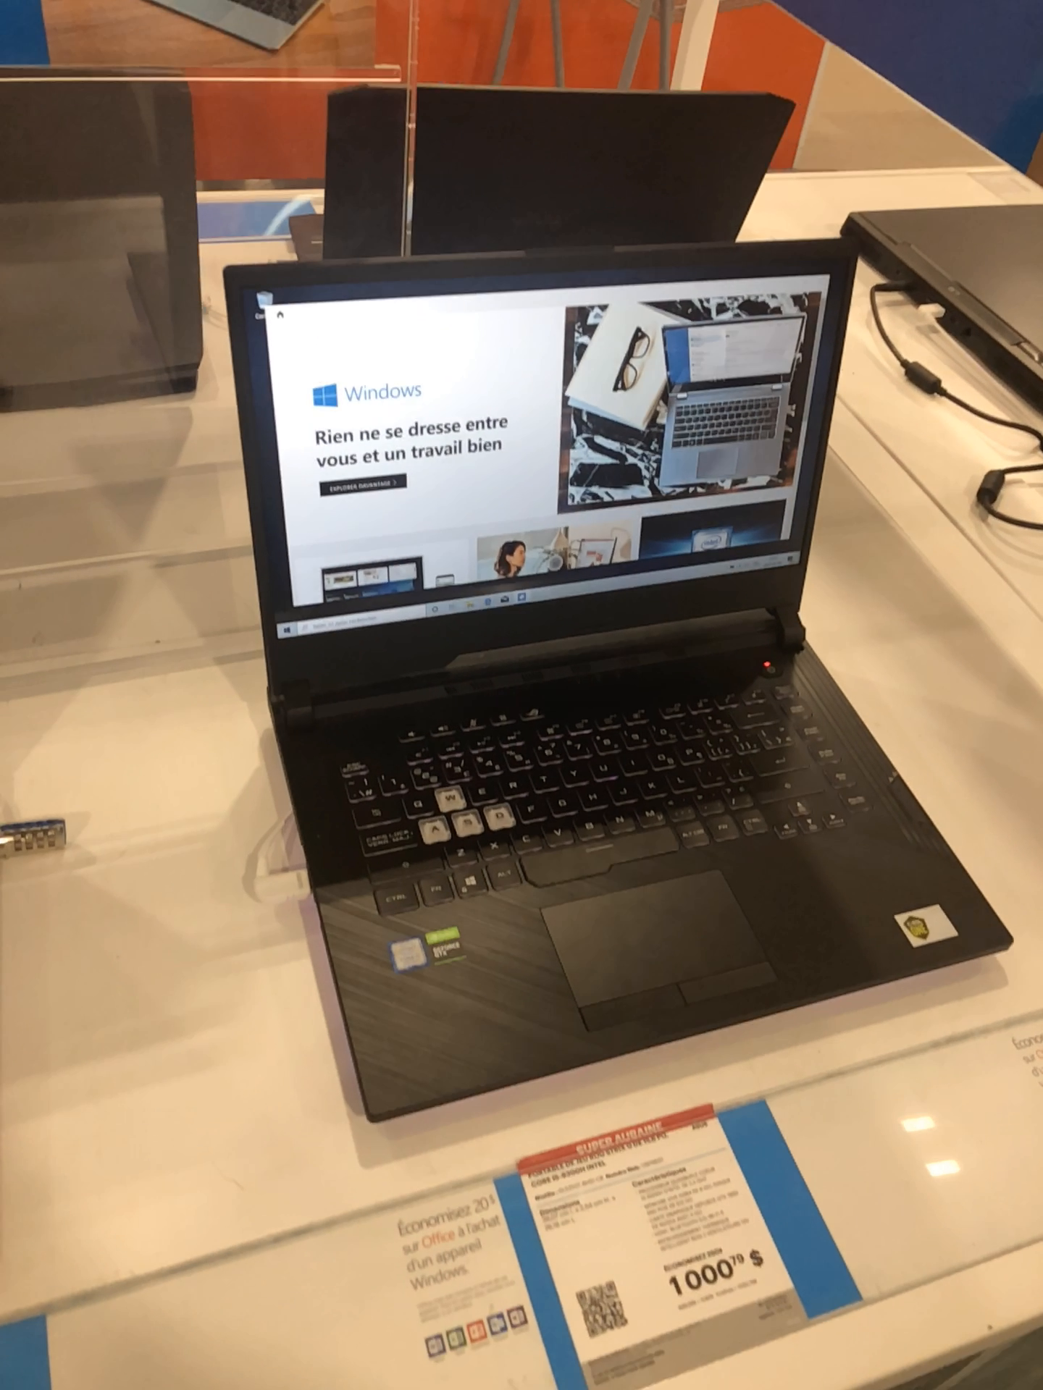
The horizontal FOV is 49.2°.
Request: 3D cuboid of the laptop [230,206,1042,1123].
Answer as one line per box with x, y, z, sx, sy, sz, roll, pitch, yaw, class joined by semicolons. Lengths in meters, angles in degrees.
0.060;-0.046;0.612;0.363;0.236;0.345;-10;51;-17;laptop
